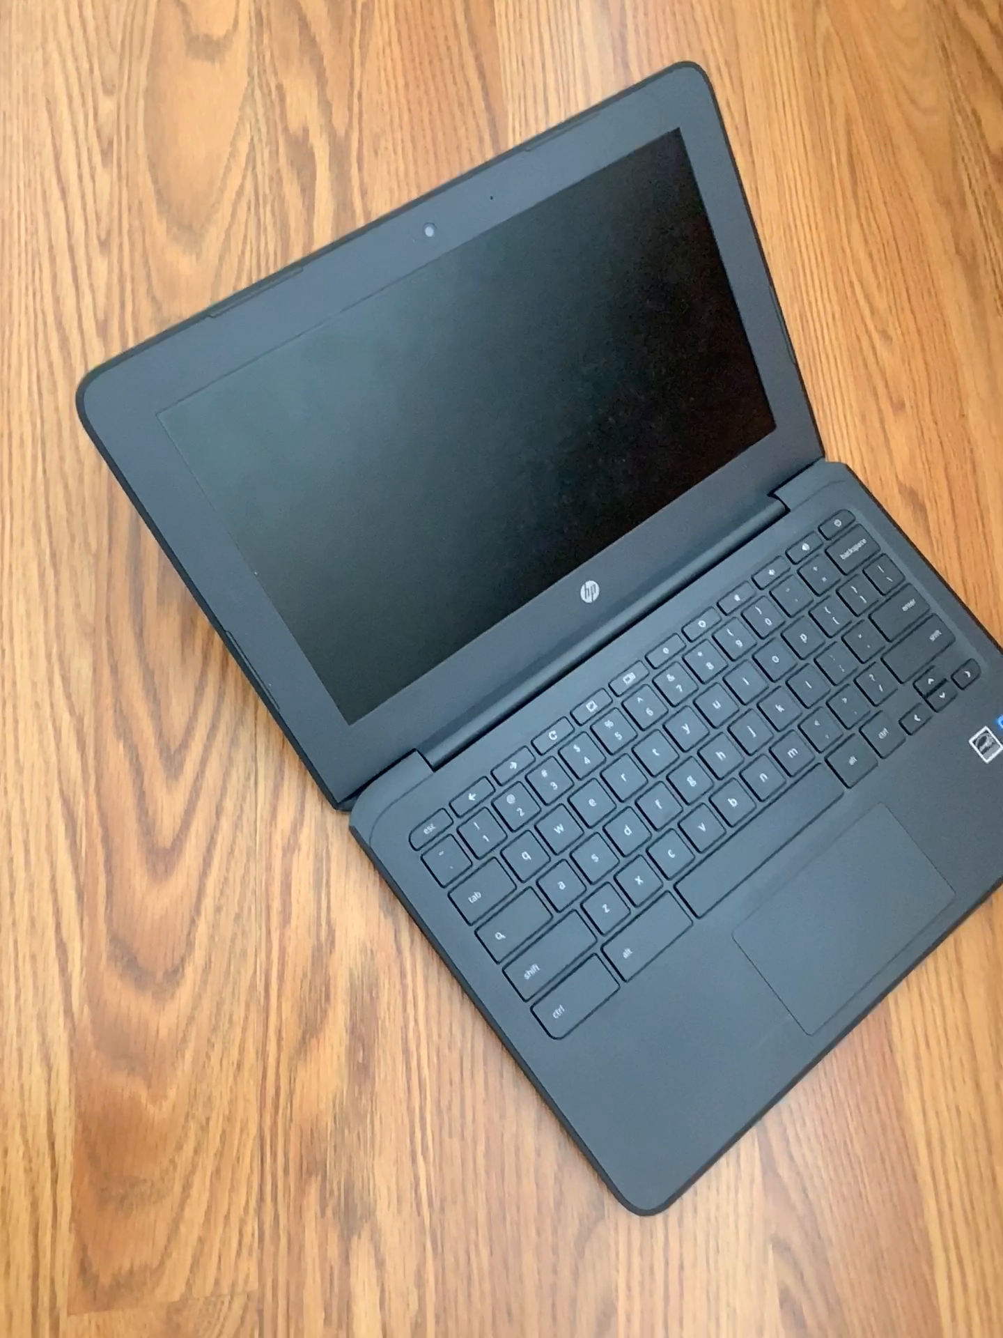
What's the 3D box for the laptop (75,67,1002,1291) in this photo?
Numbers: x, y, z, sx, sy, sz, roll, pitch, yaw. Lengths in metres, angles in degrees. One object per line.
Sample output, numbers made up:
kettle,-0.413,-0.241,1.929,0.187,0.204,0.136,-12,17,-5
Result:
laptop,0.071,-0.020,0.430,0.299,0.110,0.360,-36,82,-17
